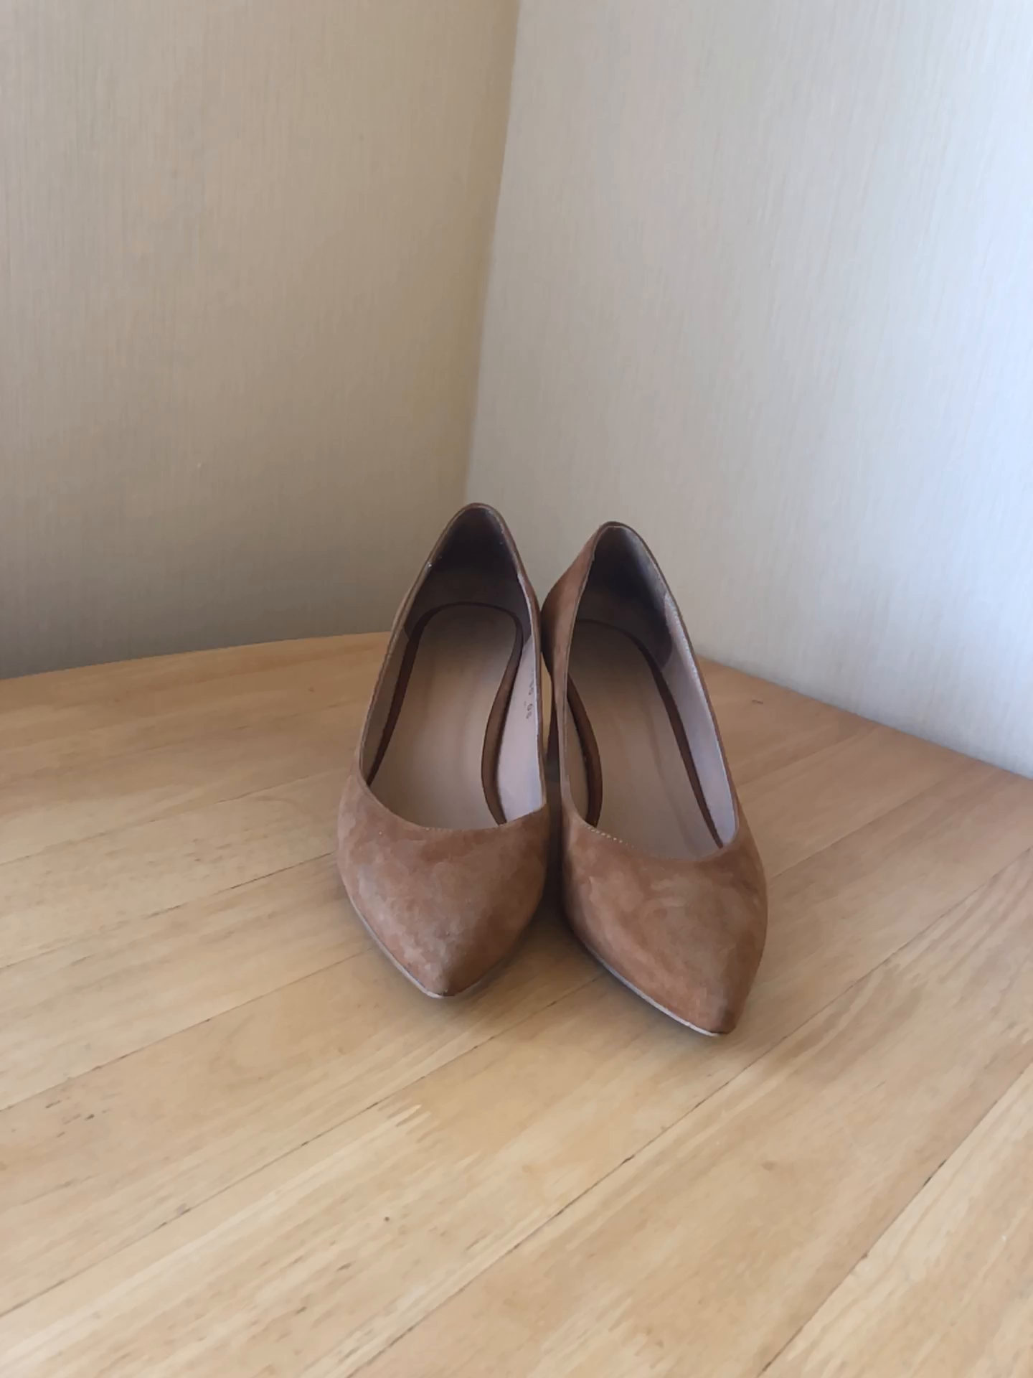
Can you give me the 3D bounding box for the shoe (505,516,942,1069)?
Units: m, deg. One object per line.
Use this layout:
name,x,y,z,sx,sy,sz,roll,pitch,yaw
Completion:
shoe,0.057,0.018,0.456,0.089,0.110,0.261,5,20,-7

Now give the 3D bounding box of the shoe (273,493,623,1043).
shoe,-0.023,0.007,0.445,0.089,0.110,0.251,6,20,-3
